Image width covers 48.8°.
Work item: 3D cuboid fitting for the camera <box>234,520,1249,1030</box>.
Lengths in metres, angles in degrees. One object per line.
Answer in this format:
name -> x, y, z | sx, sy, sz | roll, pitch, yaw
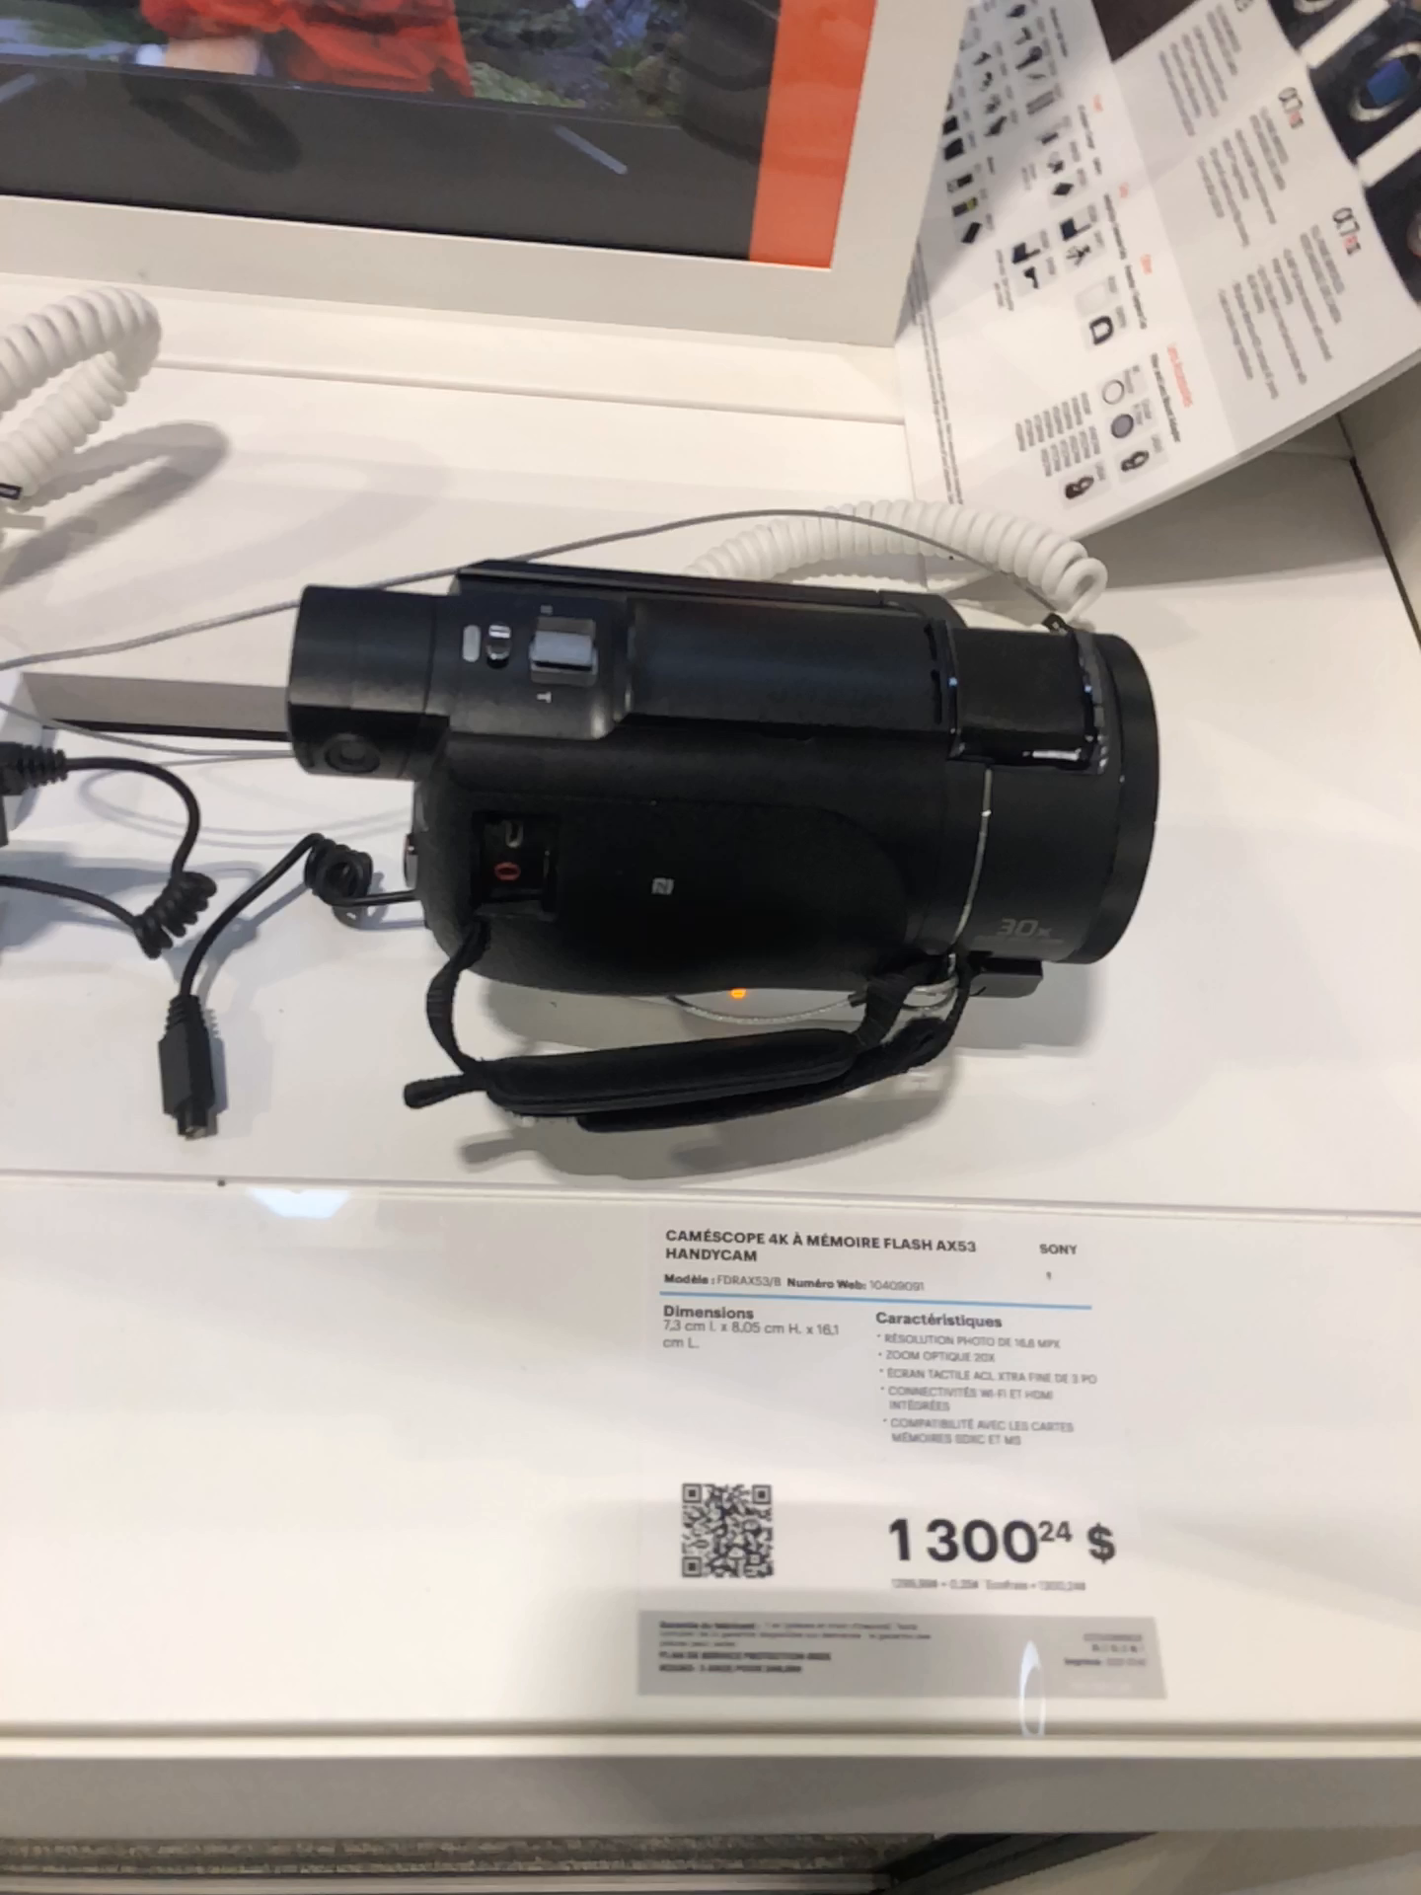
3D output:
camera -> 0.004, -0.031, 0.302 | 0.168, 0.066, 0.061 | 2, 54, -5
